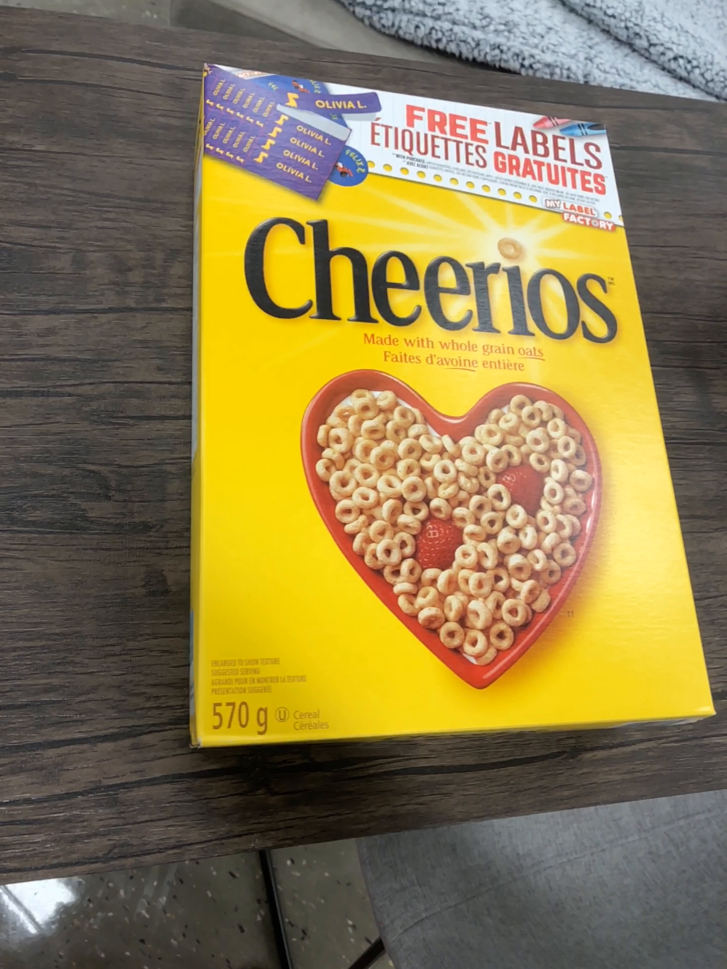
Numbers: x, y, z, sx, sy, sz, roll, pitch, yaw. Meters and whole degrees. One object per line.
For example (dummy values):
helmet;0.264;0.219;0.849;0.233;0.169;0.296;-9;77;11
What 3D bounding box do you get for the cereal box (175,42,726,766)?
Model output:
cereal box;0.026;-0.041;0.425;0.240;0.100;0.340;1;72;-15
